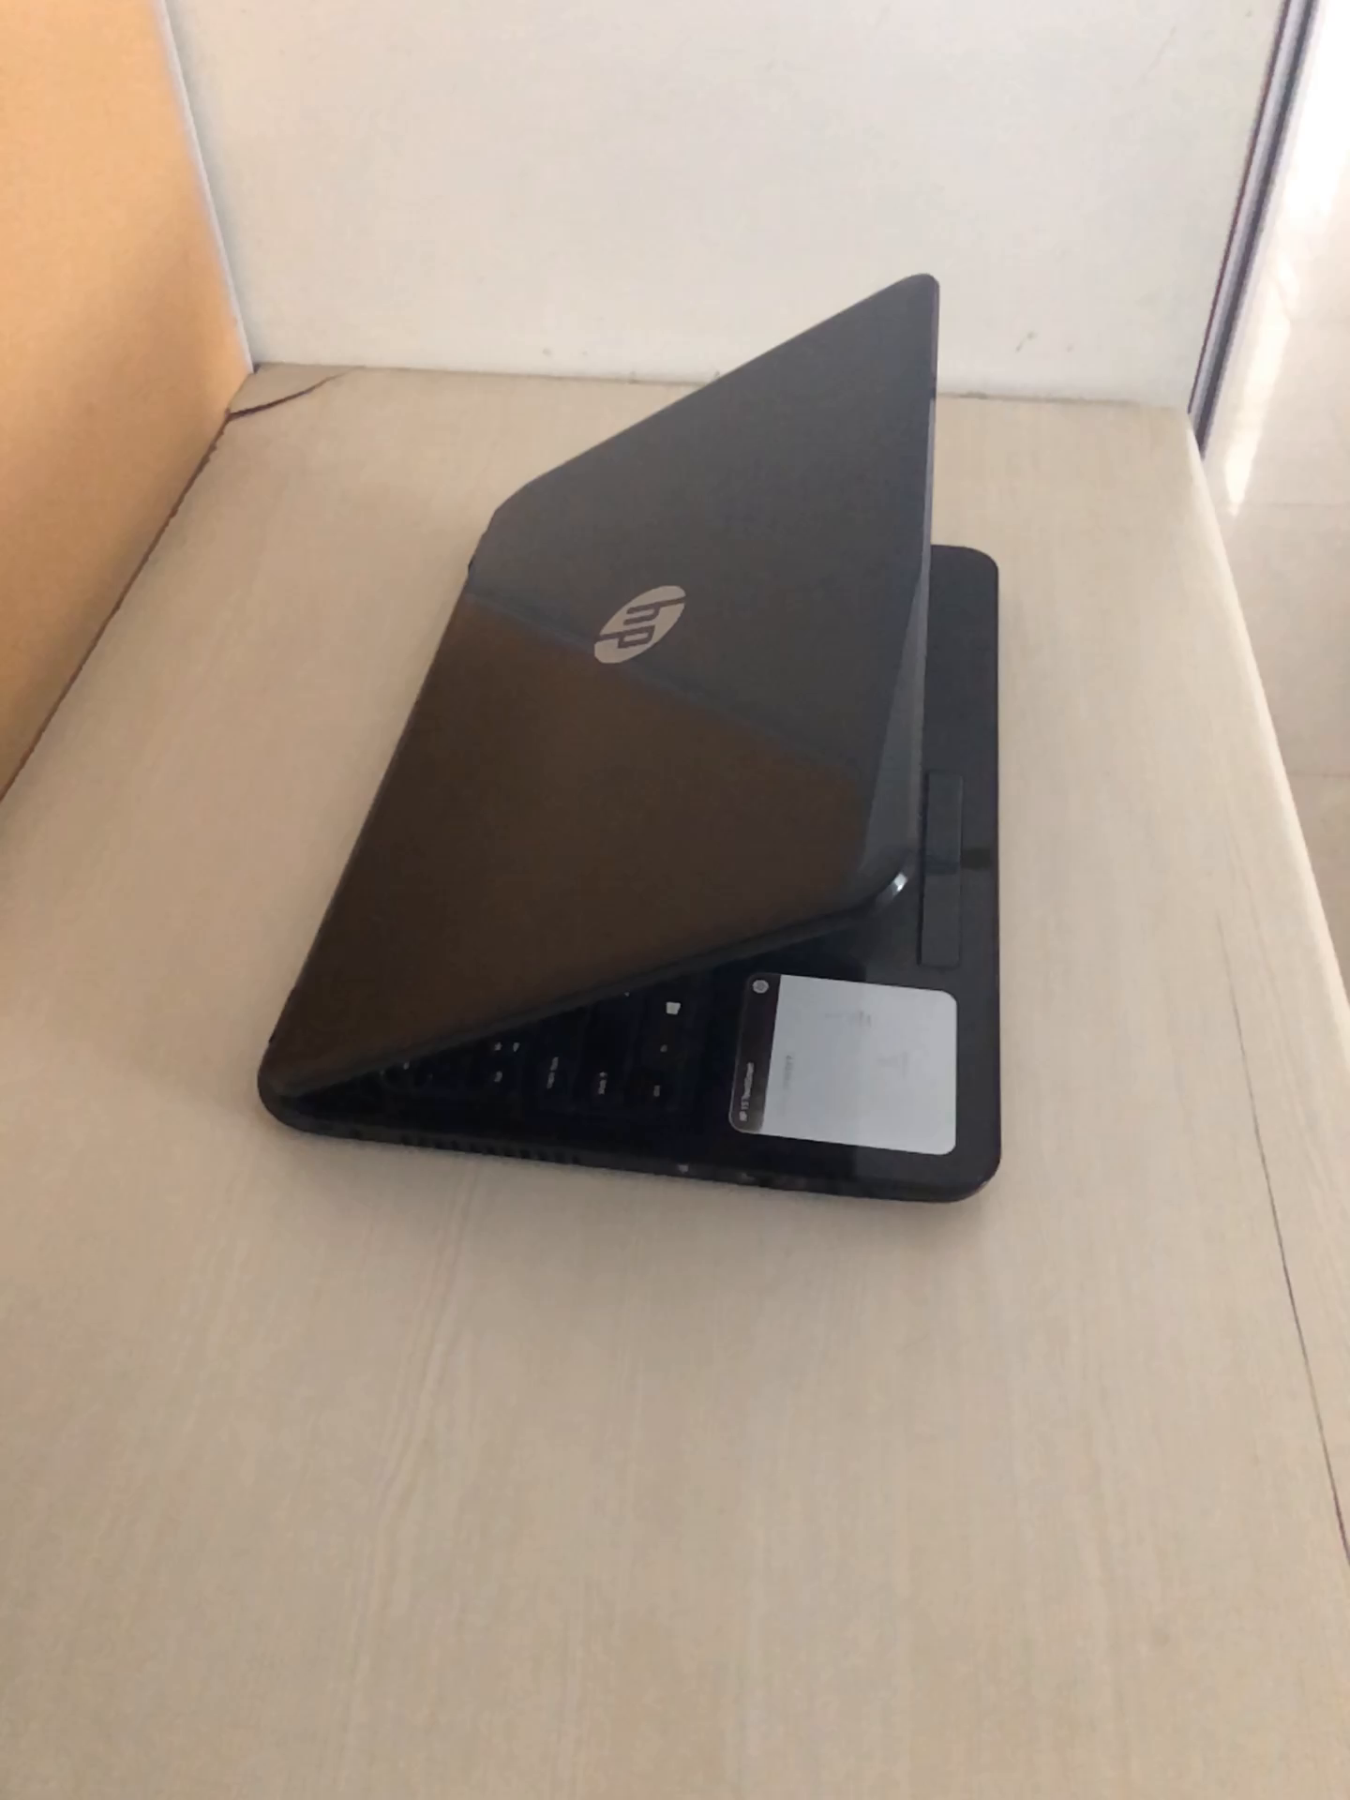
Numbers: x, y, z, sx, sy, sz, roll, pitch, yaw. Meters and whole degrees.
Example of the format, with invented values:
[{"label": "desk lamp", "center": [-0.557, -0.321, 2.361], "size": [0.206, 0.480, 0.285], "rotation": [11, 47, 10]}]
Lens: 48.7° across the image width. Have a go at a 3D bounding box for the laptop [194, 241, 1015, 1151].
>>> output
[{"label": "laptop", "center": [0.006, -0.102, 0.567], "size": [0.223, 0.131, 0.354], "rotation": [6, 48, 6]}]
